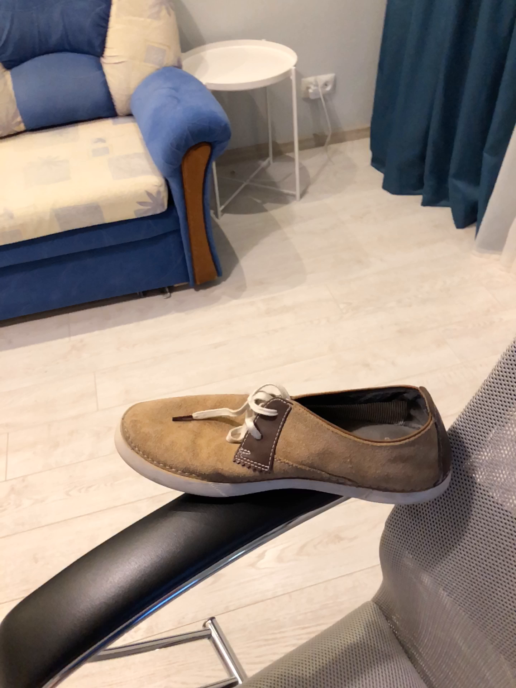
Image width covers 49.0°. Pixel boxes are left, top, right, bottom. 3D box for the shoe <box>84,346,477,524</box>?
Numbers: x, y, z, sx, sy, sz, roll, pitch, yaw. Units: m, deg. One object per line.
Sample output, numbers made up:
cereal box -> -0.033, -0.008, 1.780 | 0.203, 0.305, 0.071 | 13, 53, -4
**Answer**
shoe -> 0.020, 0.077, 0.515 | 0.310, 0.079, 0.121 | 2, 44, 6
